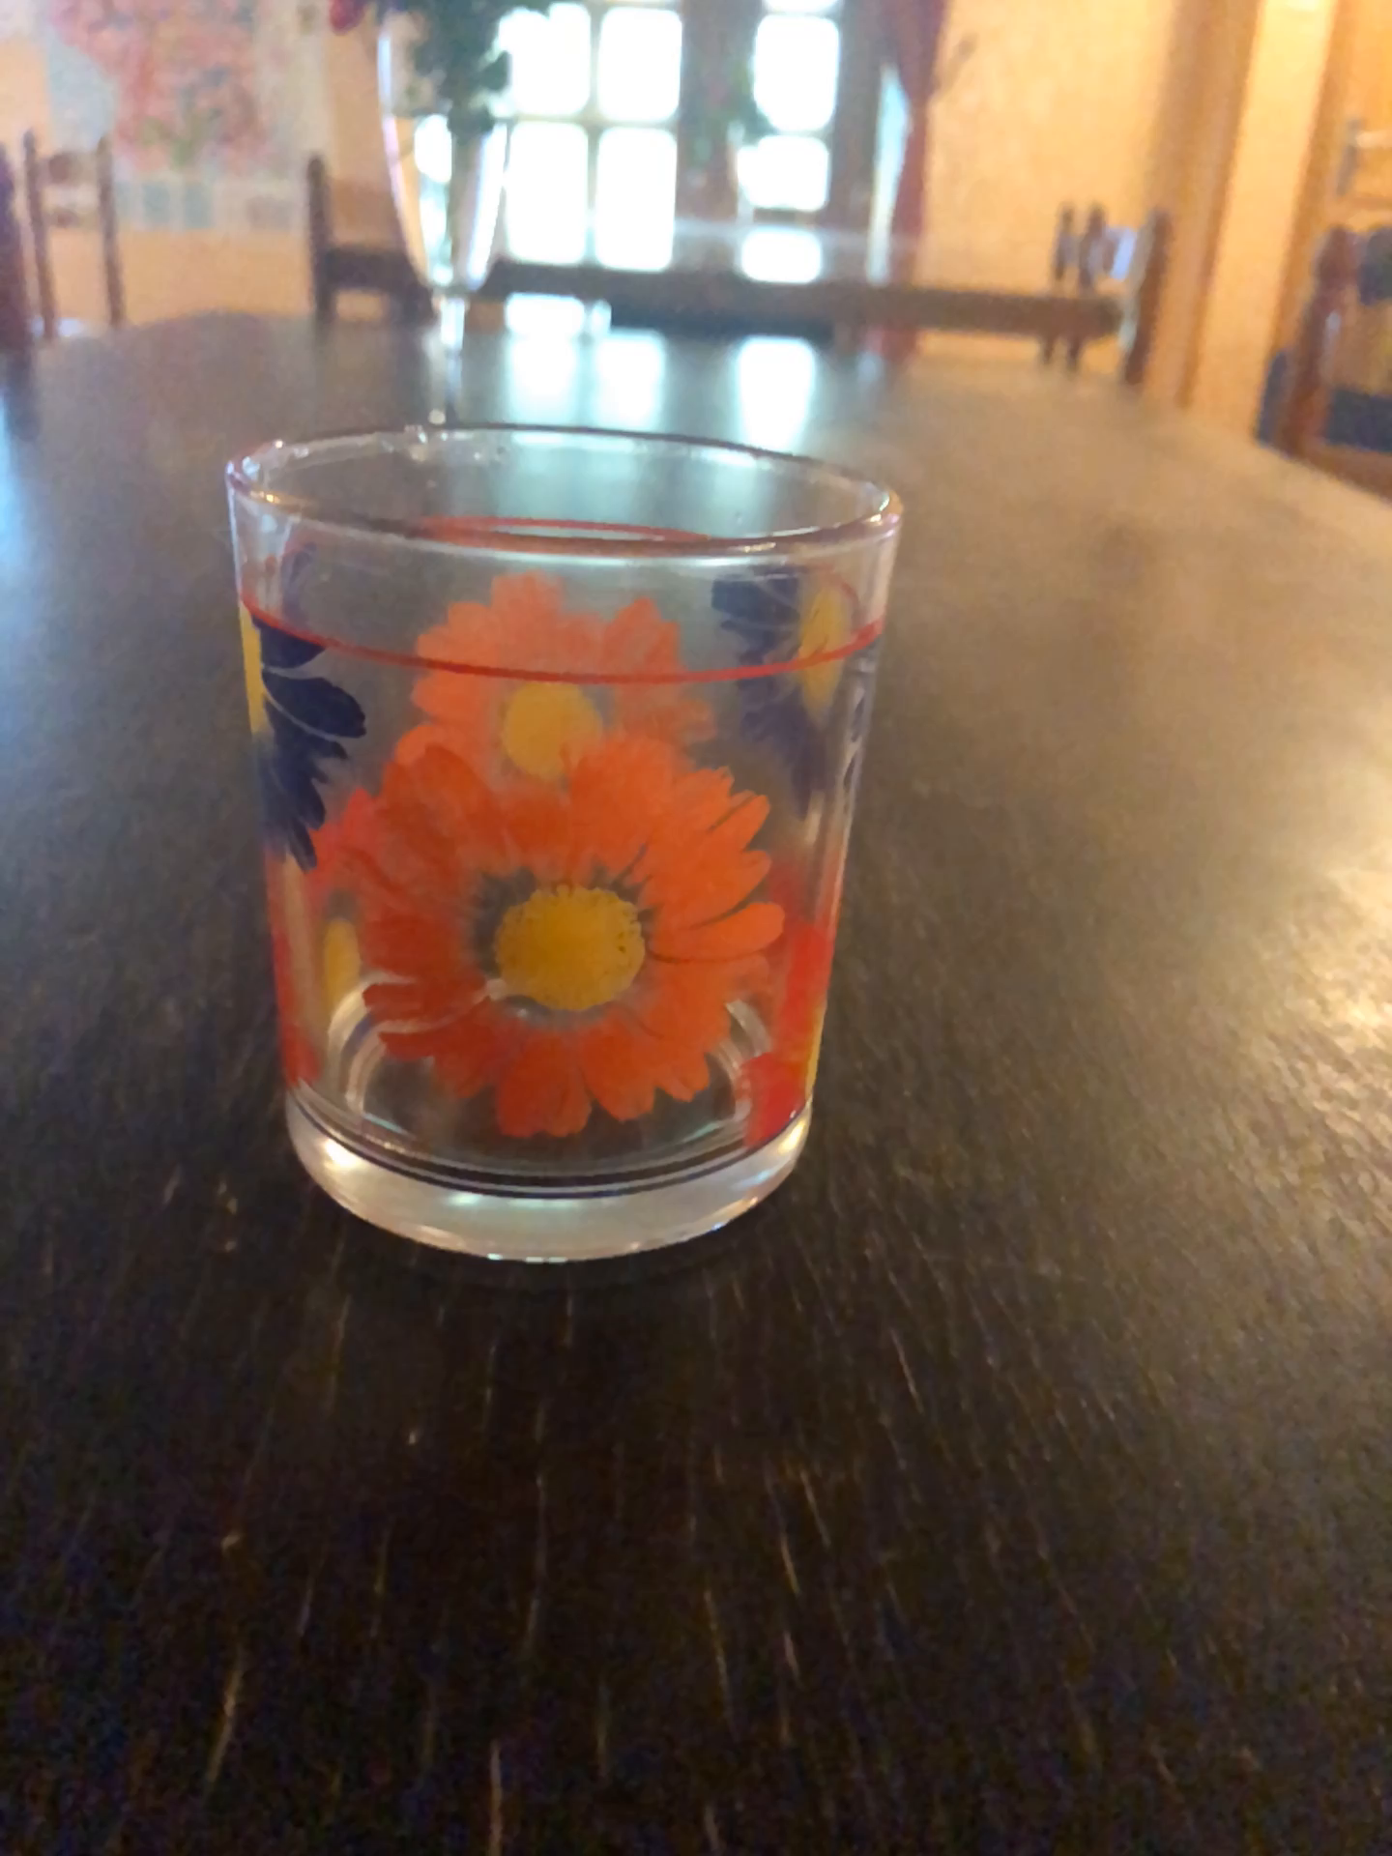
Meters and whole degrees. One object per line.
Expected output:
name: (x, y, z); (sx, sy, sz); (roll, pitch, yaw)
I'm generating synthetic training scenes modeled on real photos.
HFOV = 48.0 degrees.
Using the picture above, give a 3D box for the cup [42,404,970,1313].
cup: (-0.018, -0.013, 0.182); (0.078, 0.079, 0.076); (3, 25, -1)
